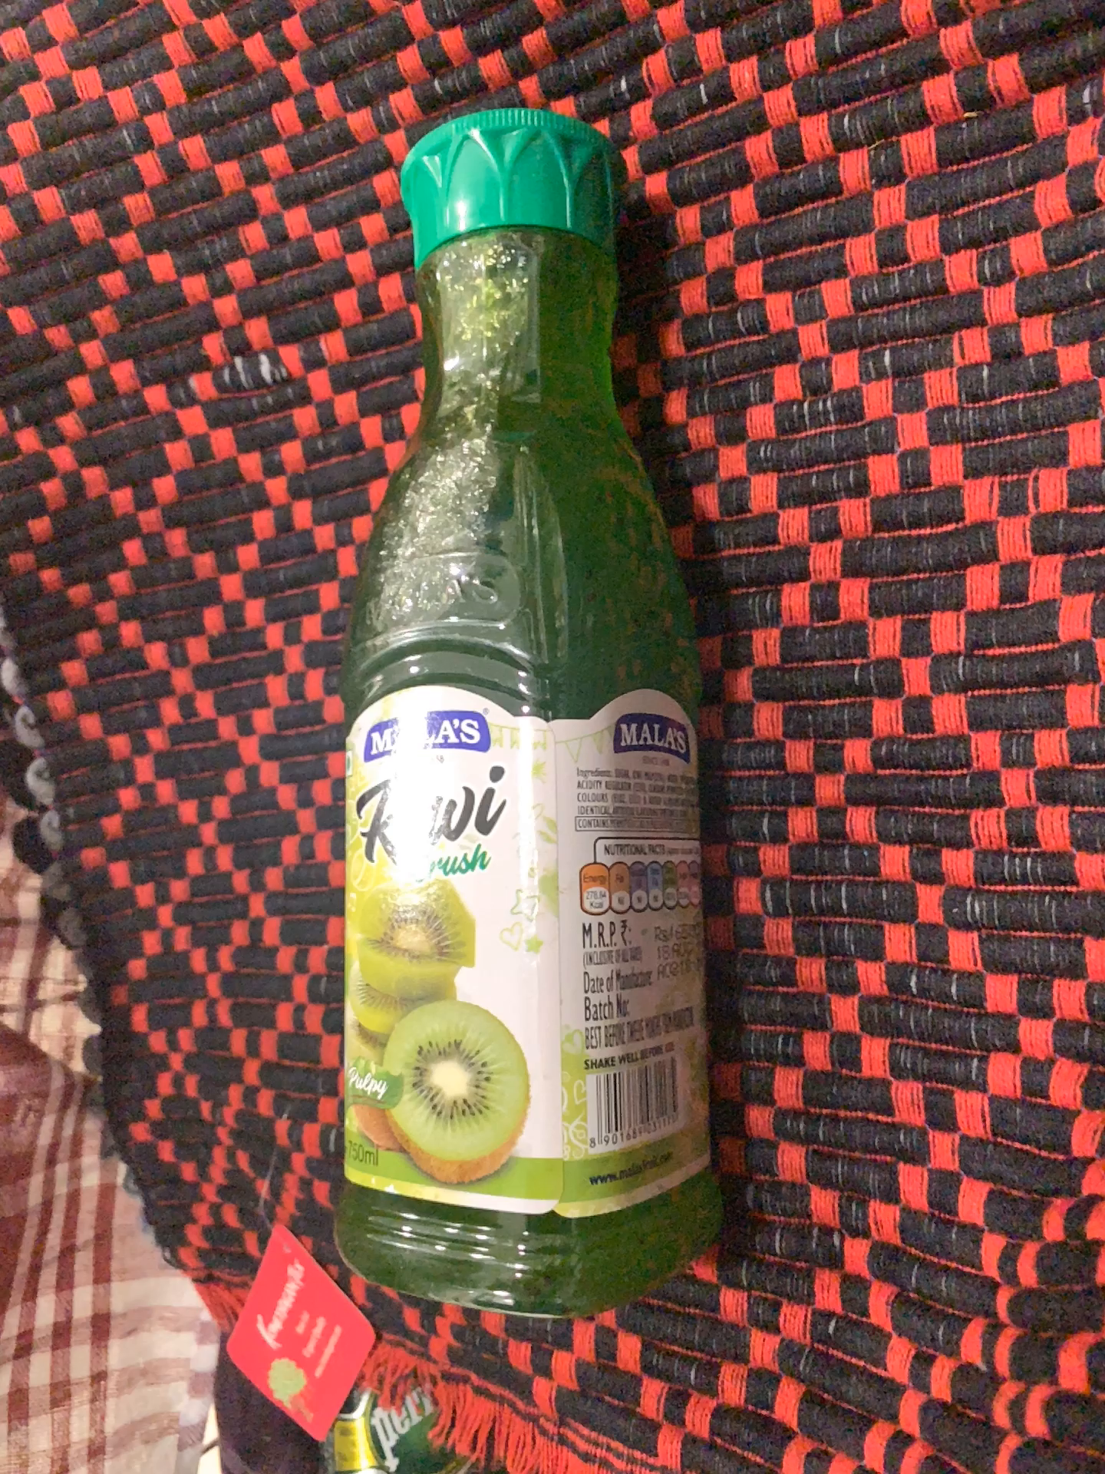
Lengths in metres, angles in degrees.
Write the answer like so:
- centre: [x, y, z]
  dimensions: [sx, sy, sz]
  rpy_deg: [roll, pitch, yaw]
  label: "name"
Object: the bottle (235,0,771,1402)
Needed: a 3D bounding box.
- centre: [-0.004, -0.023, 0.240]
  dimensions: [0.070, 0.080, 0.260]
  rpy_deg: [-4, 80, 33]
  label: "bottle"
